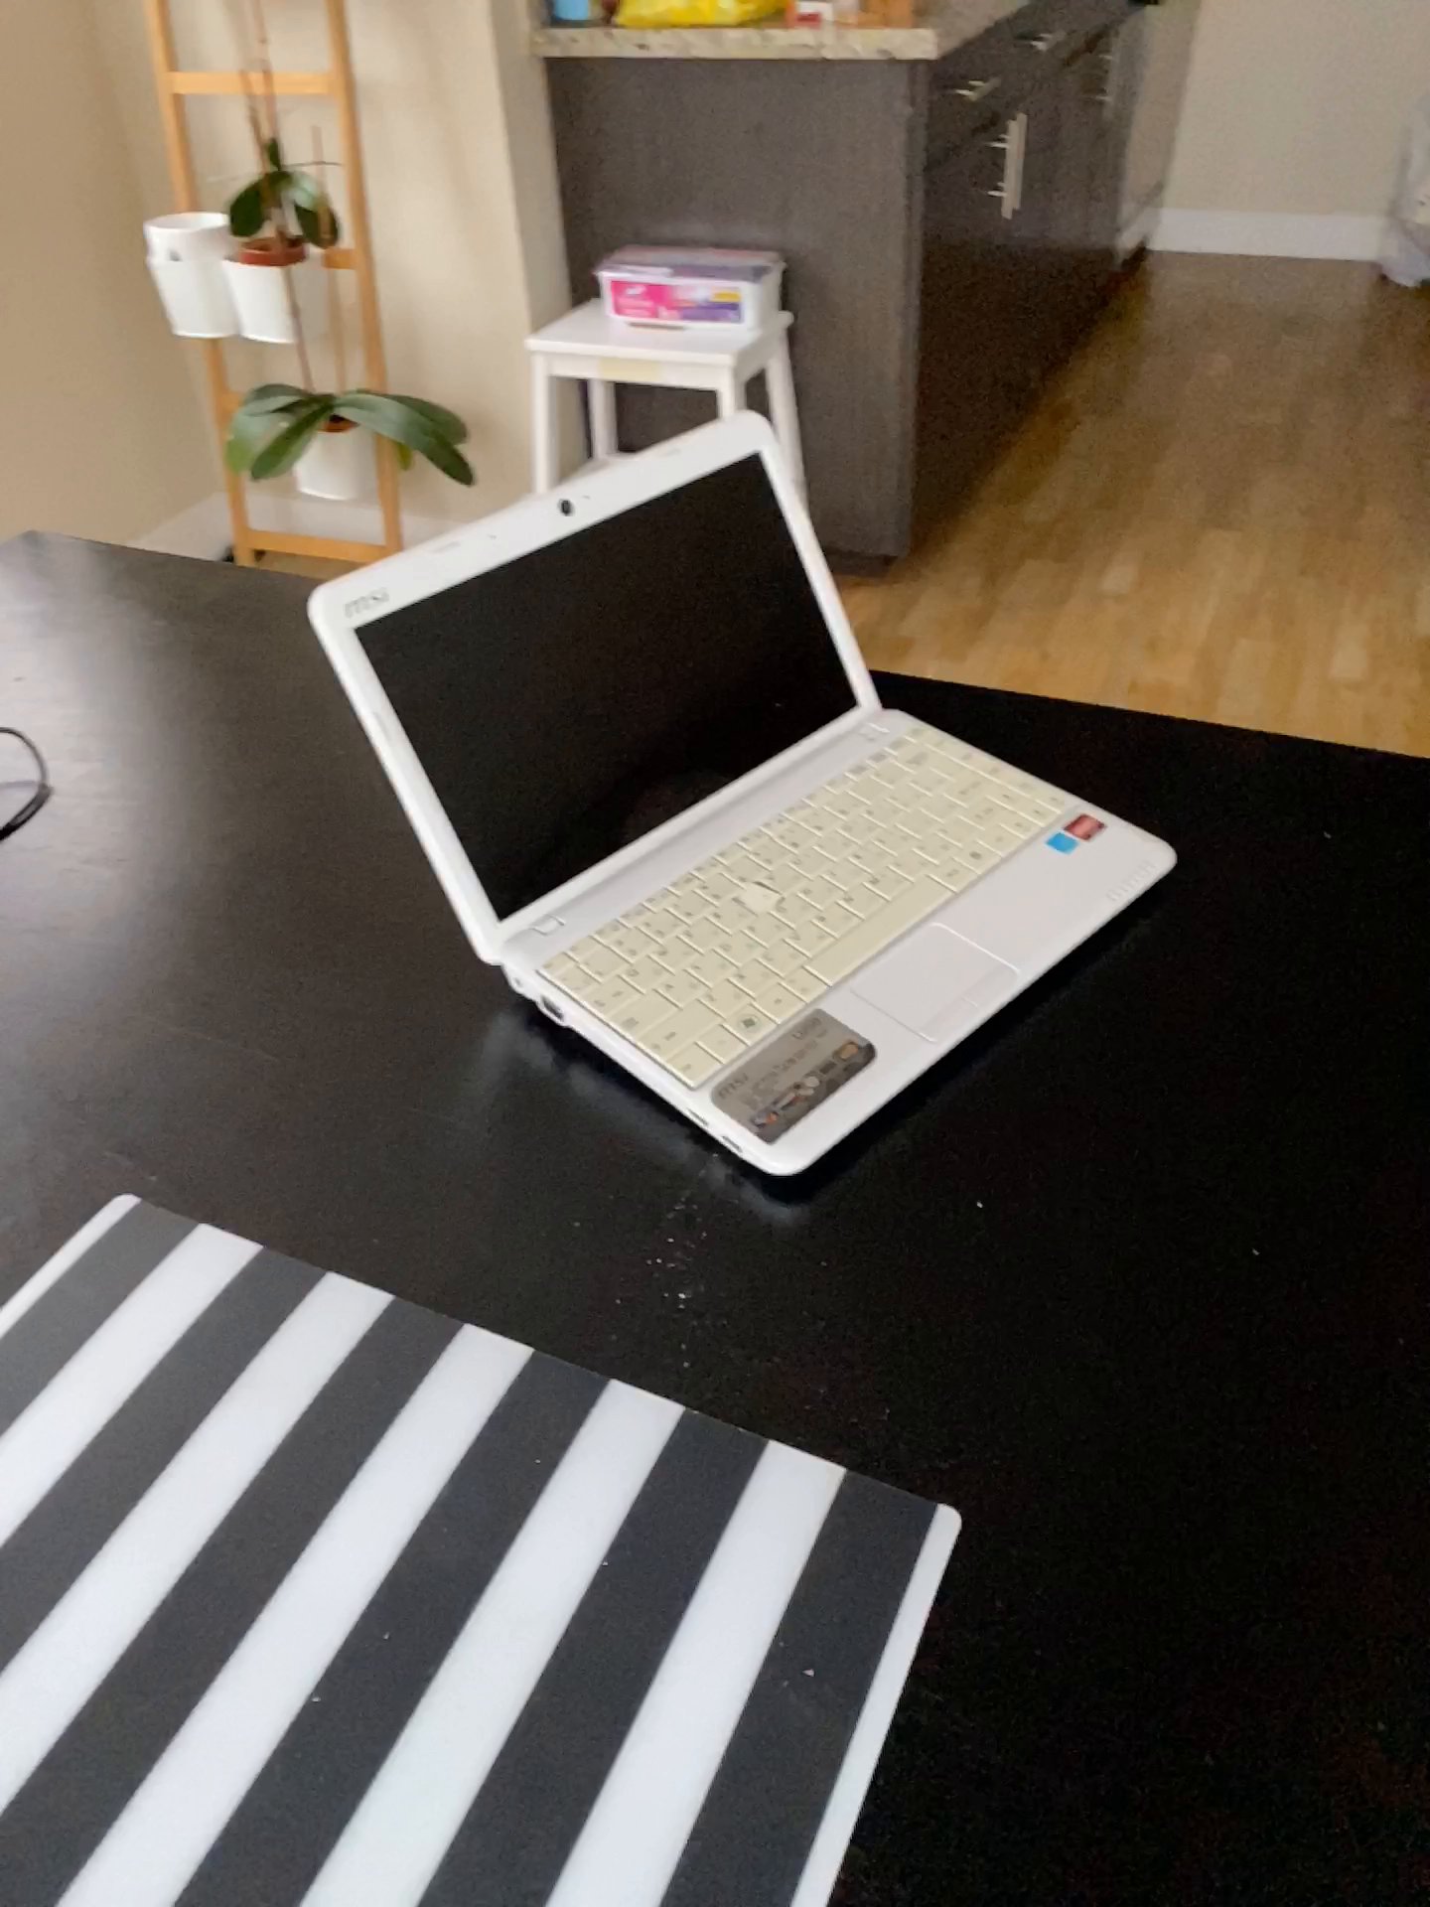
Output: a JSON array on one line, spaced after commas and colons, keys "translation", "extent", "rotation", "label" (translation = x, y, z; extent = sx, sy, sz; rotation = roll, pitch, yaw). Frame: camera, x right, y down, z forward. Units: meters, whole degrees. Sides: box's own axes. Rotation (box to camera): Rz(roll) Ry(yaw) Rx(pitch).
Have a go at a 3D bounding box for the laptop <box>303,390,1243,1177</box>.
[{"translation": [0.030, -0.111, 0.700], "extent": [0.302, 0.153, 0.295], "rotation": [33, 52, 32], "label": "laptop"}]
